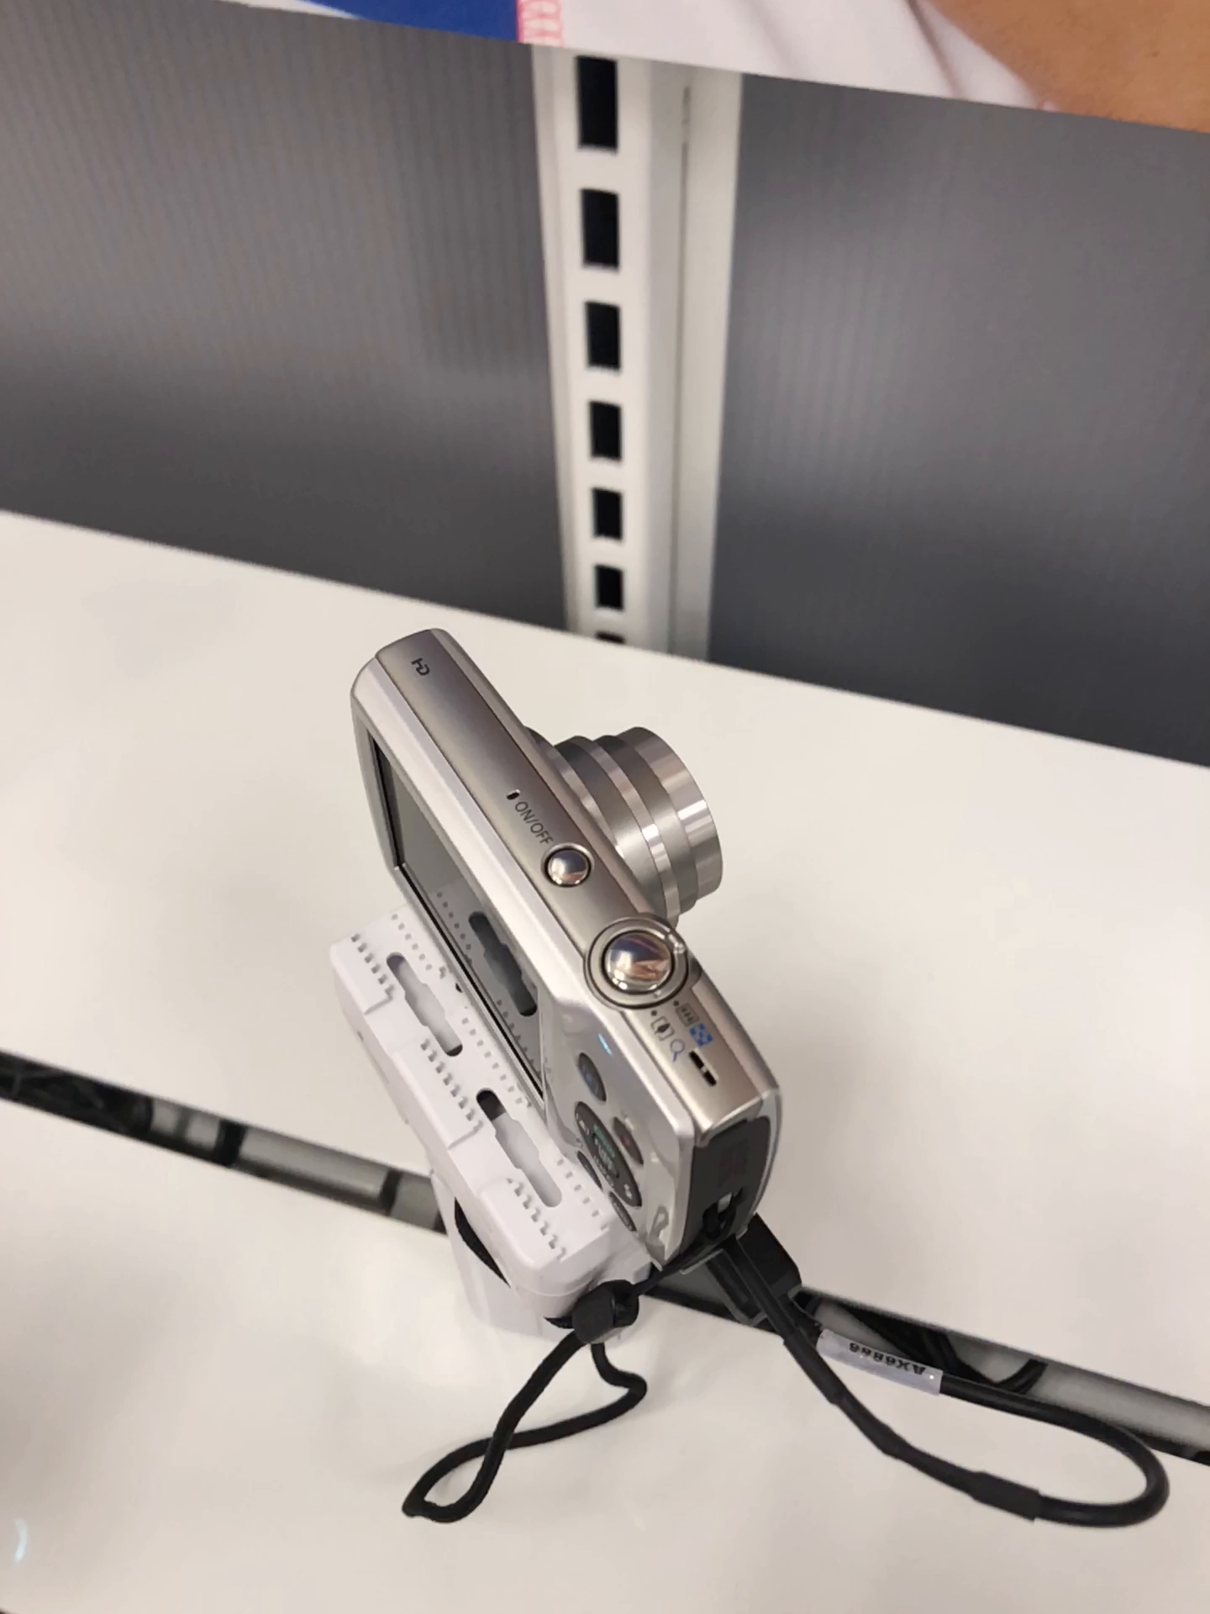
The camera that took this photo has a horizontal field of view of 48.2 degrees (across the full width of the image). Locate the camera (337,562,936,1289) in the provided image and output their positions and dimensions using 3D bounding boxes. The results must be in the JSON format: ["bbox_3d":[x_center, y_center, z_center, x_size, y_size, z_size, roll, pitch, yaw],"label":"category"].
[{"bbox_3d":[0.001,0.016,0.210,0.042,0.055,0.089,-26,58,-18],"label":"camera"}]
